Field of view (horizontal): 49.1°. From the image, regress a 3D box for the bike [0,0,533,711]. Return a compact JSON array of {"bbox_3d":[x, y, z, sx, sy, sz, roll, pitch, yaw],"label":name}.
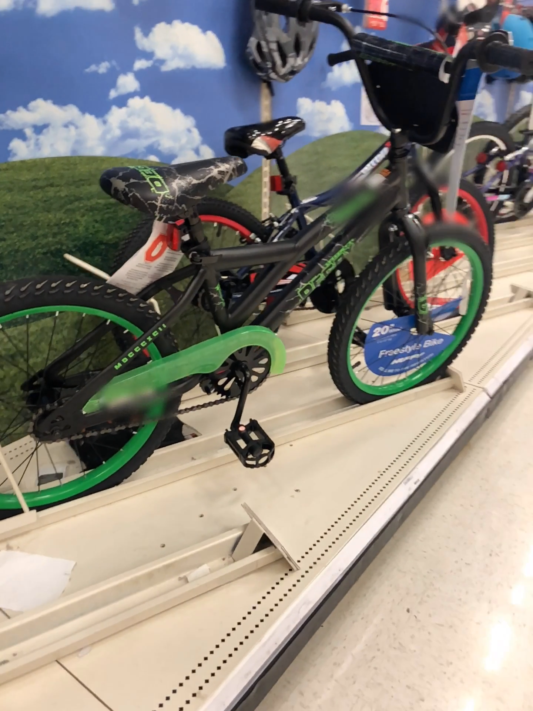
[{"bbox_3d":[-0.009,-0.216,1.131,1.365,0.879,0.629,-15,29,-29],"label":"bike"}]
